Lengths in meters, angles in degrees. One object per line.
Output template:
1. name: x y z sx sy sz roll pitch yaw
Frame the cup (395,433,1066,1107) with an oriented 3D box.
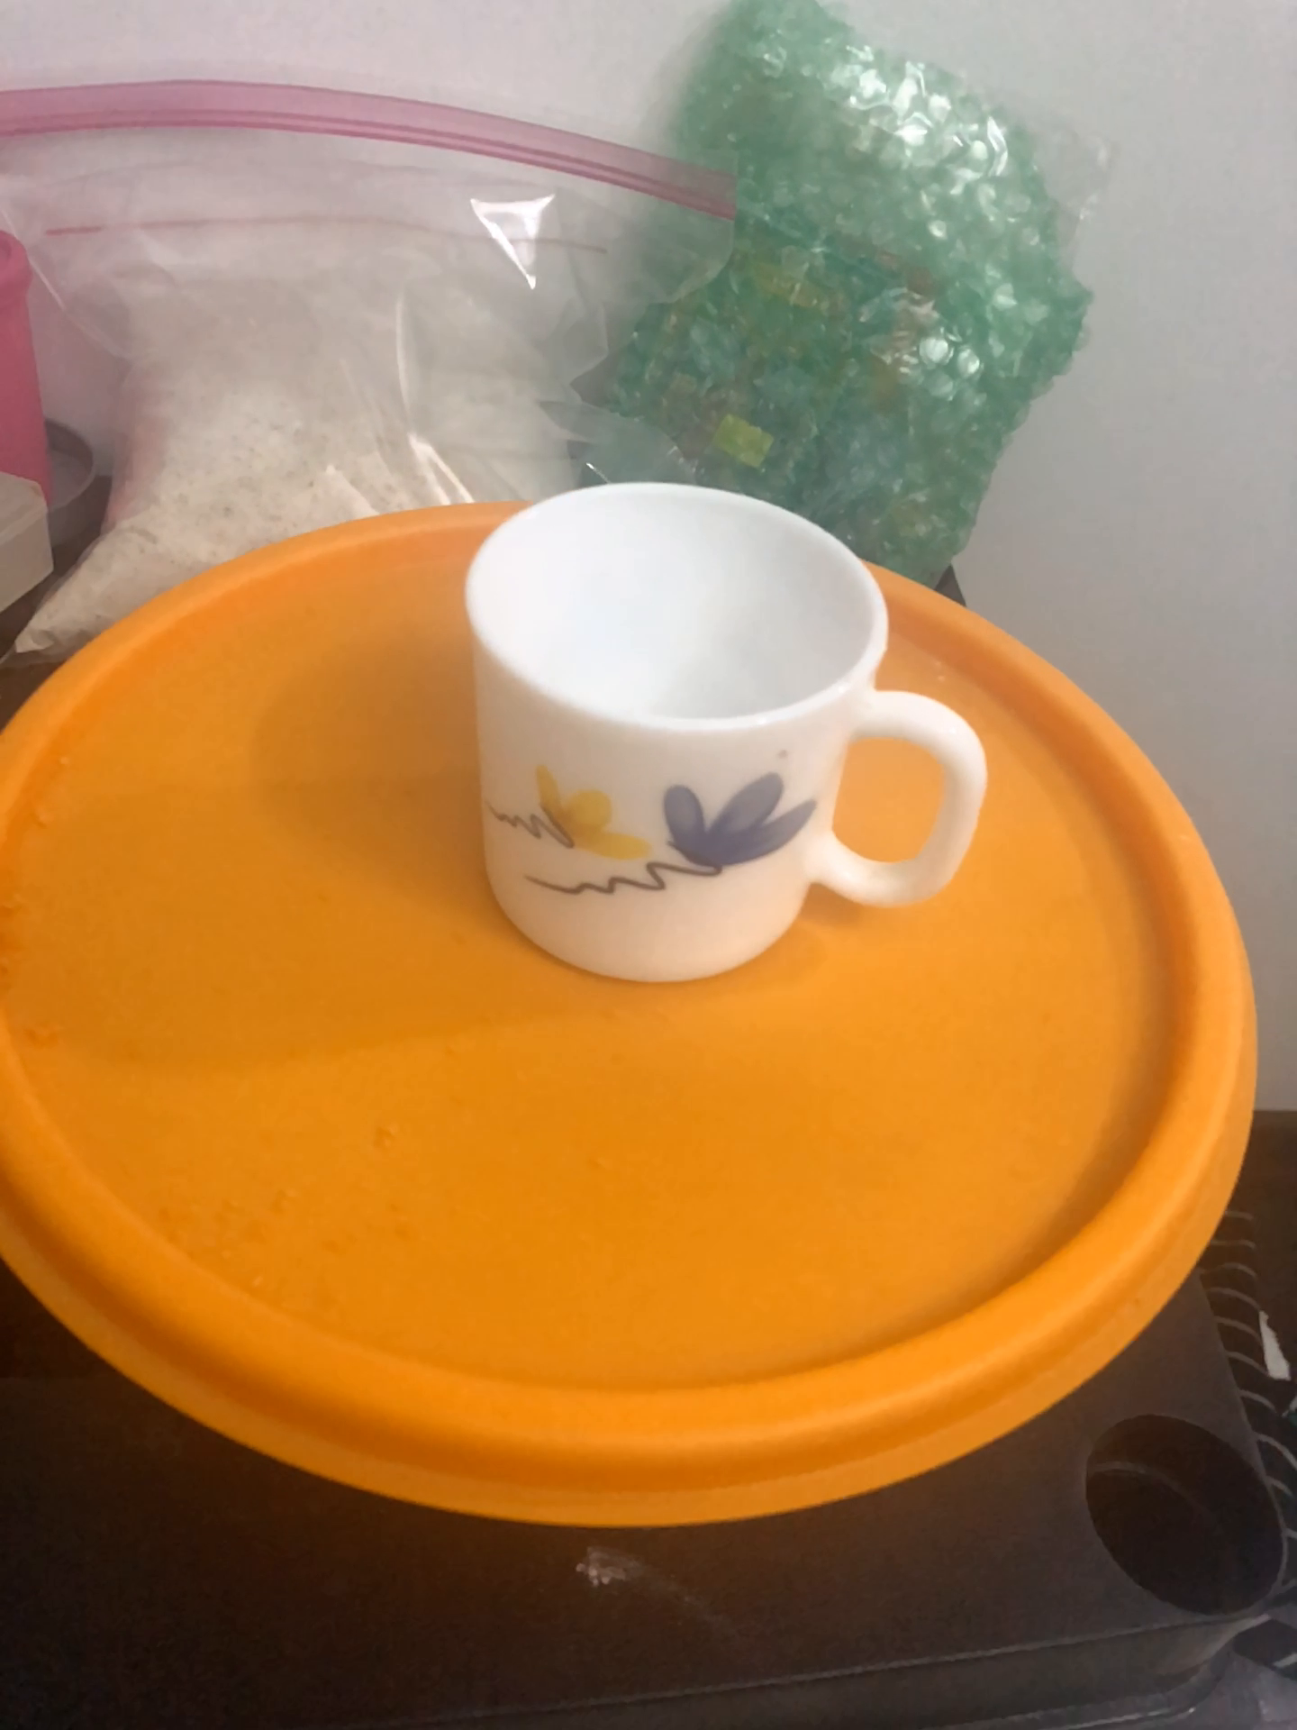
1. cup: 0.016 -0.020 0.271 0.100 0.070 0.080 15 45 7
